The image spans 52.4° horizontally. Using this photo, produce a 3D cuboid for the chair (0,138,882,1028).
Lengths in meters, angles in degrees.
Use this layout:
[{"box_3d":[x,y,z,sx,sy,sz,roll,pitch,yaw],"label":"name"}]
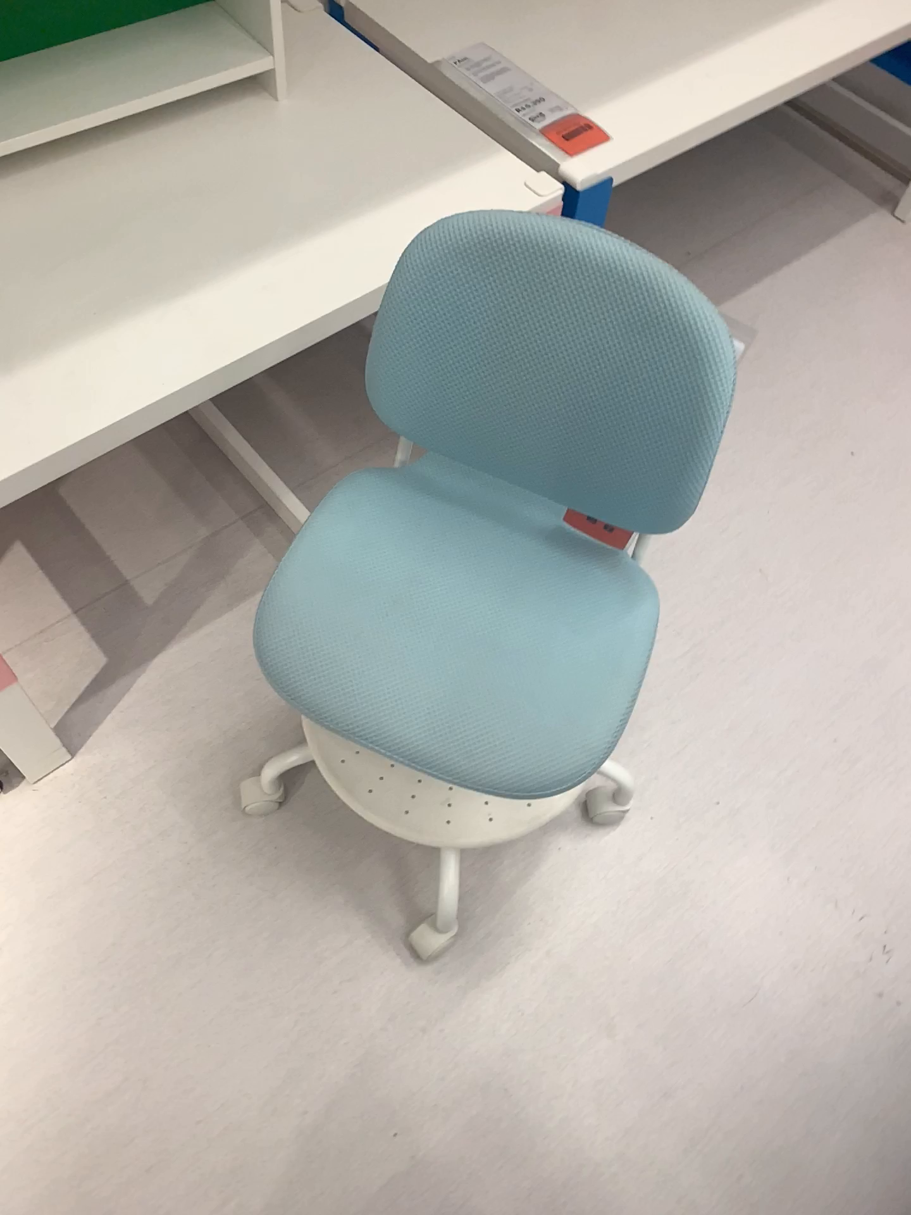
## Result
[{"box_3d":[0.005,0.016,1.086,0.580,0.678,0.611,23,60,9],"label":"chair"}]
